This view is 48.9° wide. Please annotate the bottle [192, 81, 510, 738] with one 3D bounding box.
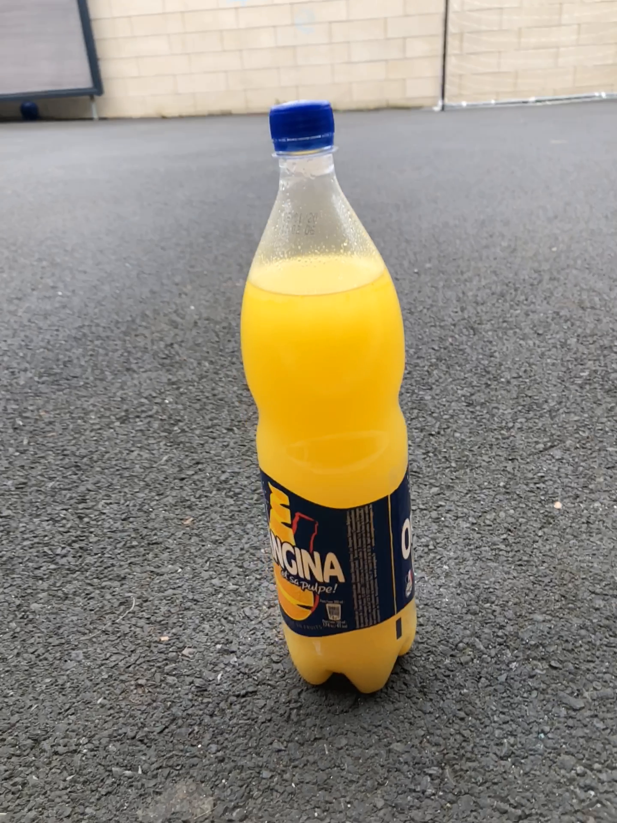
[{"bbox_3d":[0.028,0.008,0.379,0.100,0.338,0.100,-4,28,2],"label":"bottle"}]
